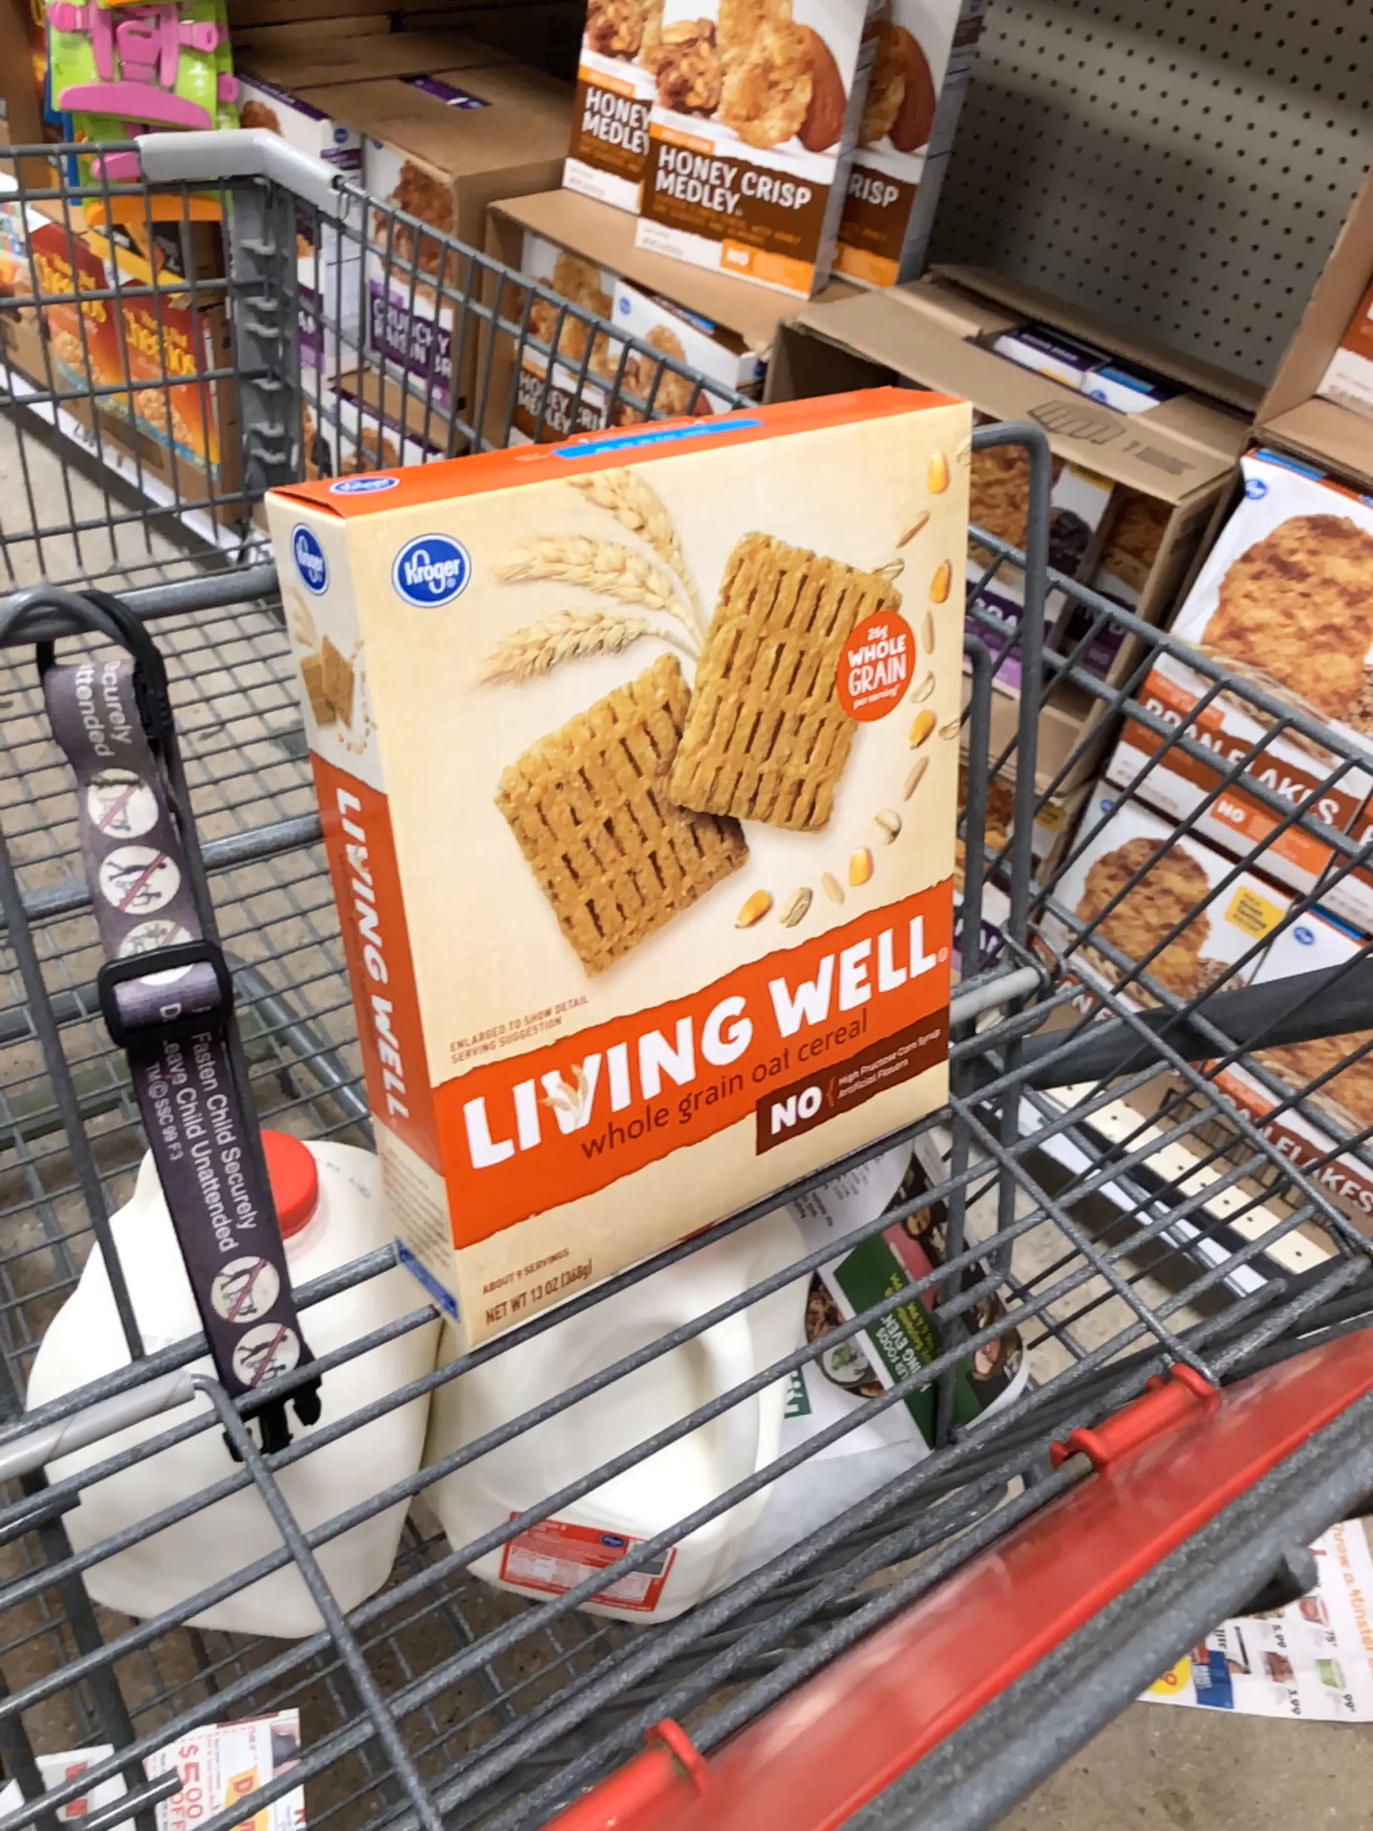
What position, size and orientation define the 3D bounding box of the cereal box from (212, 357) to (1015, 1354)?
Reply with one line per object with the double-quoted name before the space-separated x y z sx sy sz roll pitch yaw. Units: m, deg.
"cereal box" -0.006 -0.024 0.449 0.210 0.240 0.060 -21 33 -30
